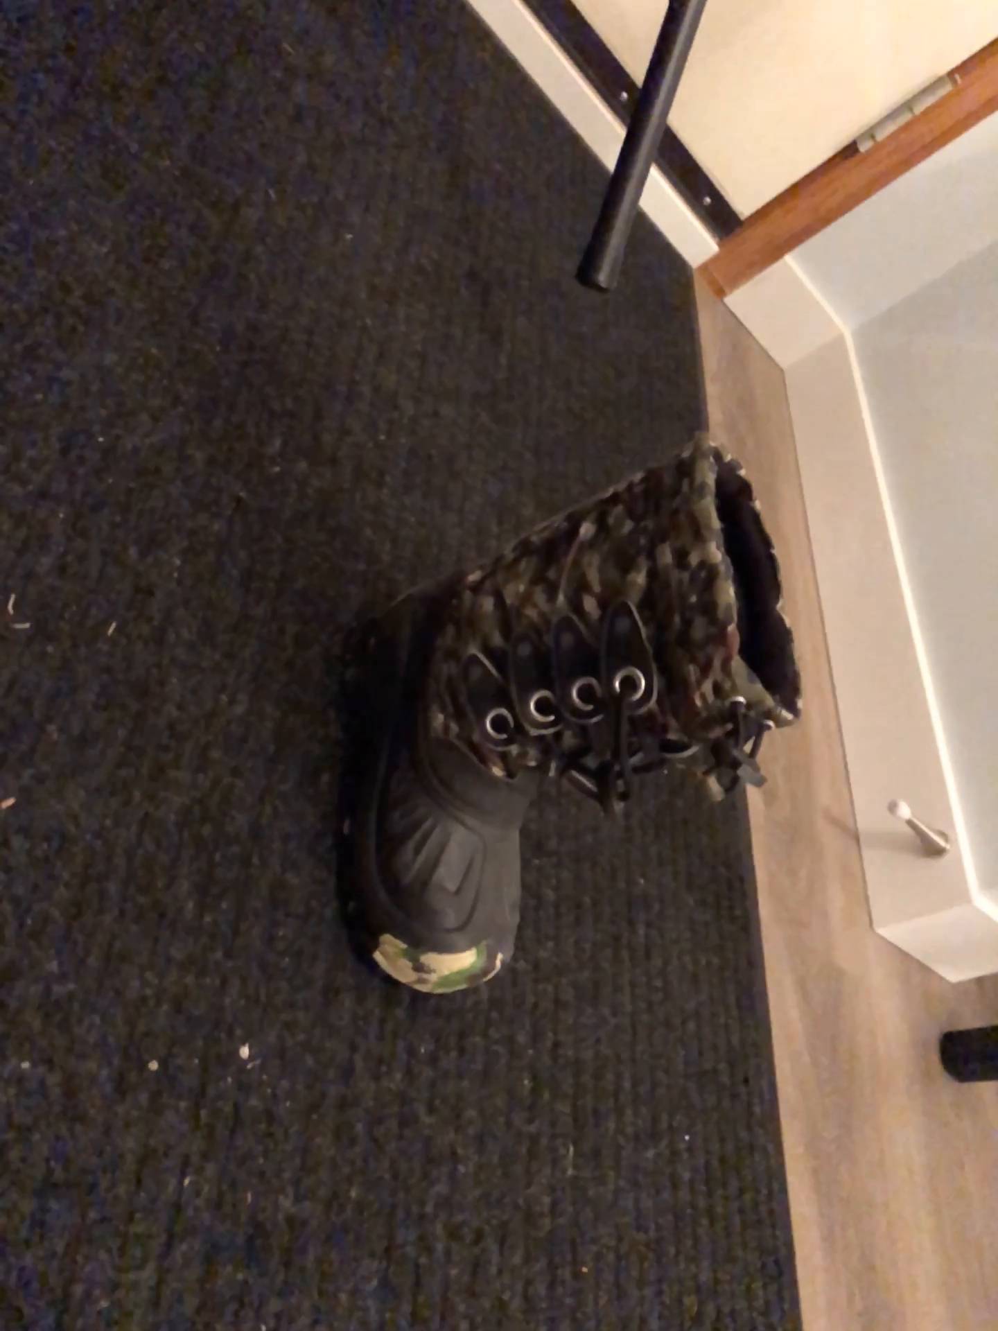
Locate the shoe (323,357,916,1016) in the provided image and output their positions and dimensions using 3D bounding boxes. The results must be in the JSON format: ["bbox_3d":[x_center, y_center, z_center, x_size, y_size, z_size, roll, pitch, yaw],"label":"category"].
[{"bbox_3d":[0.033,0.021,0.480,0.101,0.209,0.200,25,48,-43],"label":"shoe"}]
